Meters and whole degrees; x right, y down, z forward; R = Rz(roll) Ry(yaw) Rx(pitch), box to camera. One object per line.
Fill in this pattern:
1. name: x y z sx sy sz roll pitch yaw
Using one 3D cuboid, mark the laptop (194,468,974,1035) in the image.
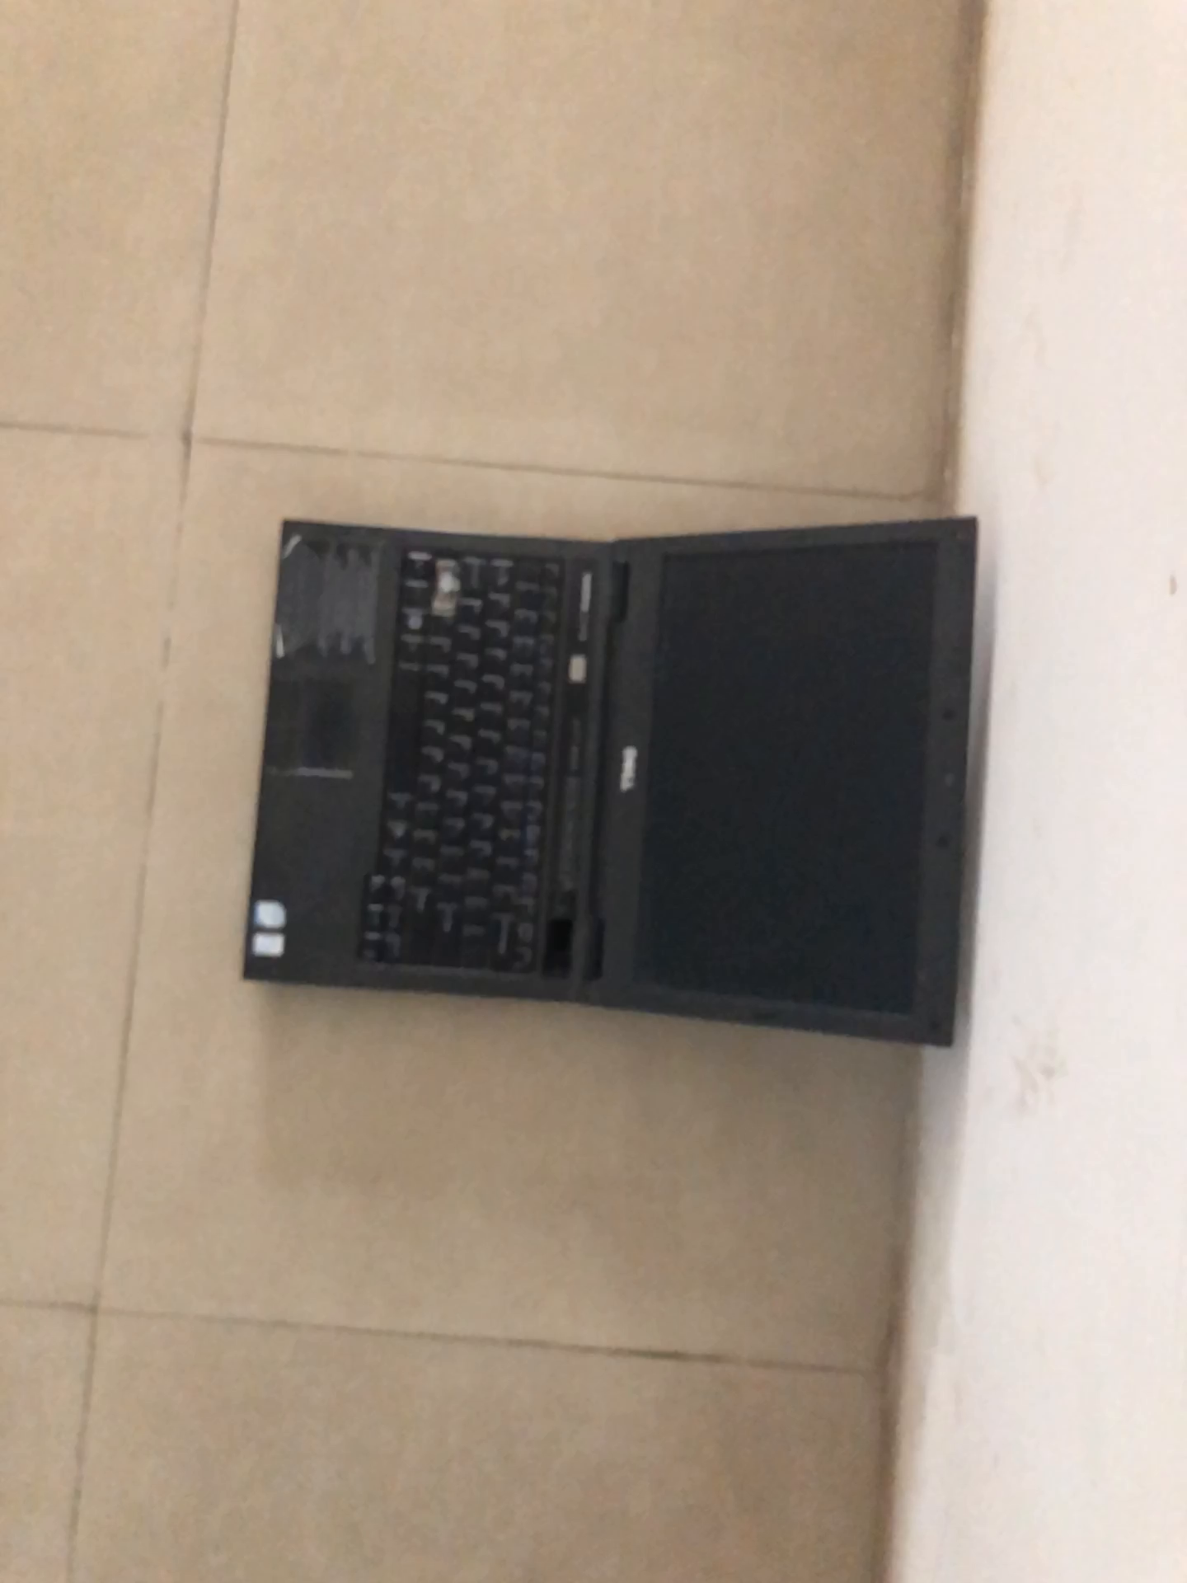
1. laptop: -0.002 -0.023 0.825 0.432 0.114 0.299 4 85 0
